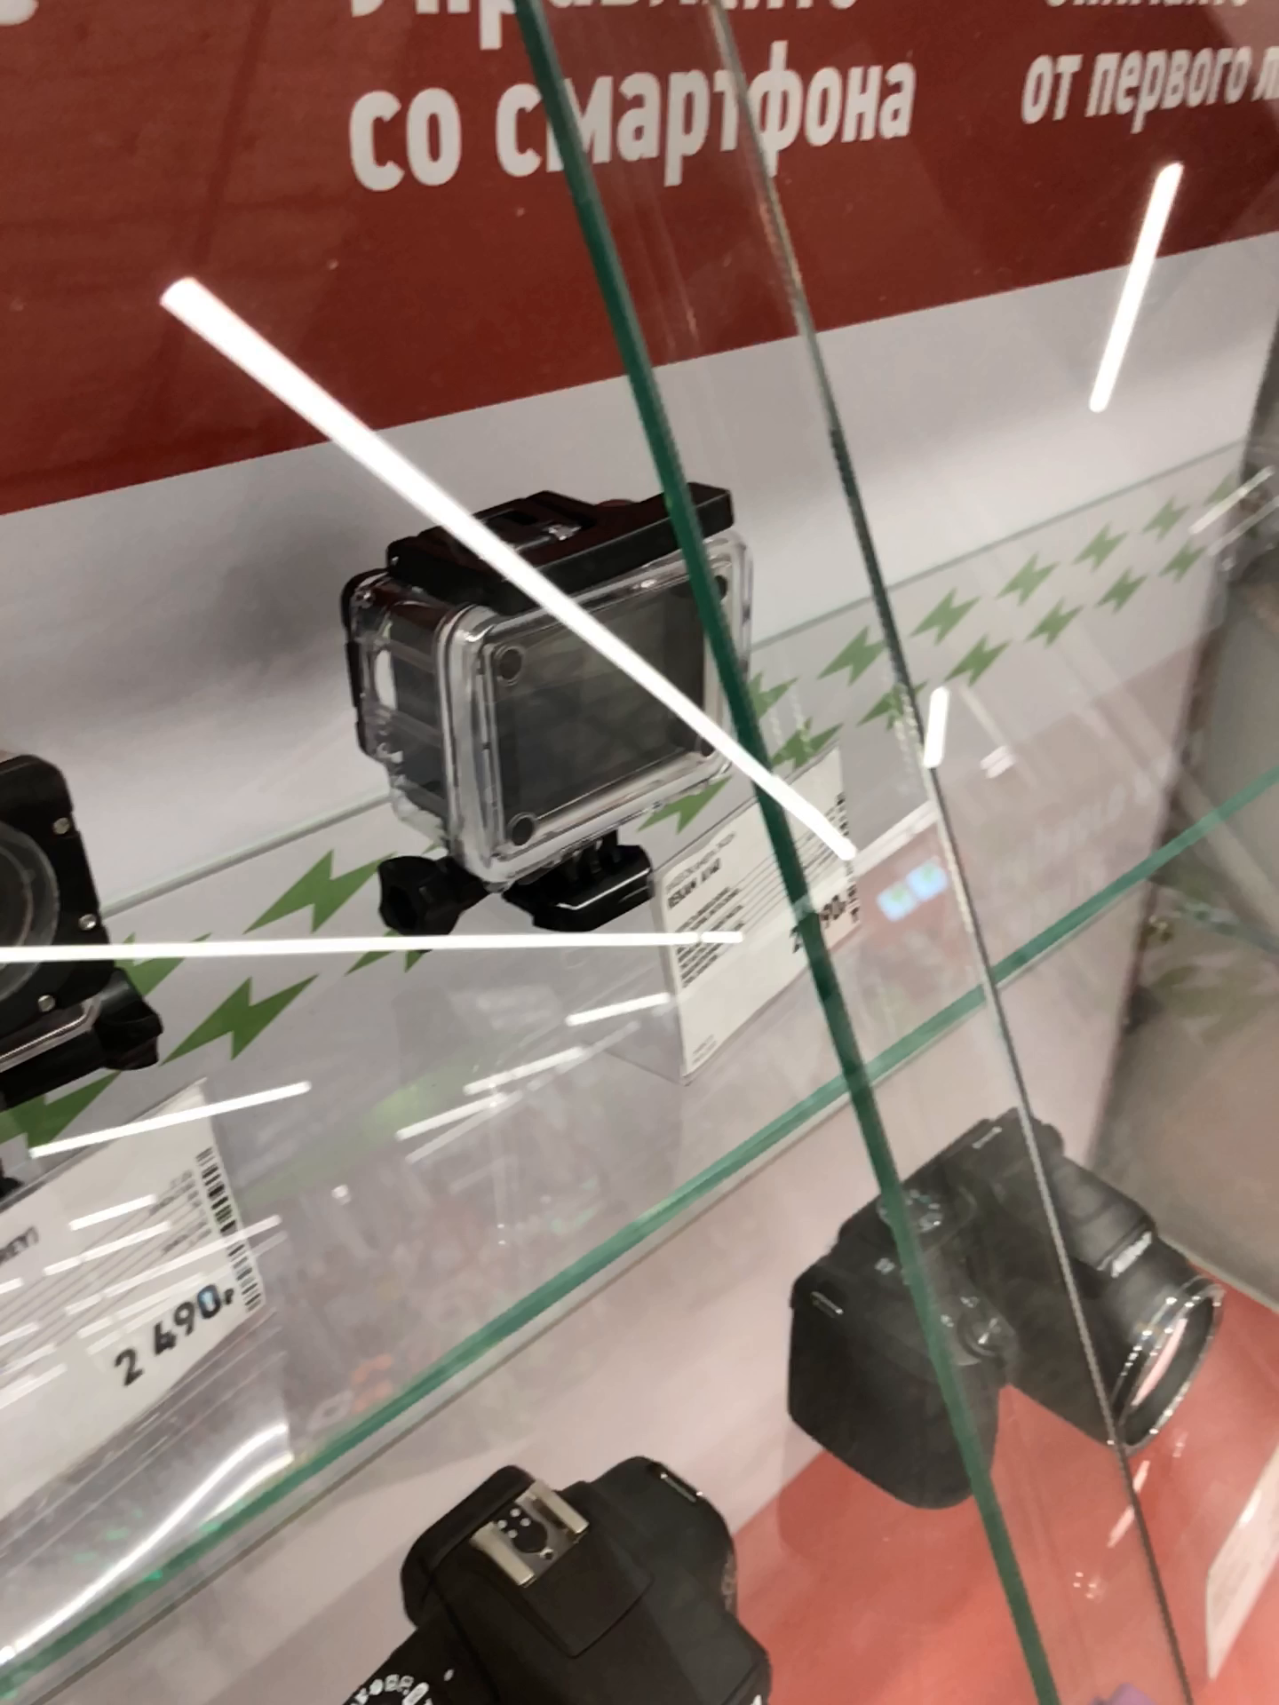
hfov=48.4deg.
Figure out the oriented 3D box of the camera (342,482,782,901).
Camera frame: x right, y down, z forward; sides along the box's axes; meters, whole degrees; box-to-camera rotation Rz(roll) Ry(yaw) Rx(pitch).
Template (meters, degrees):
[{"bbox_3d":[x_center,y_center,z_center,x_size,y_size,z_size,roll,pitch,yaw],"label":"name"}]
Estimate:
[{"bbox_3d":[-0.013,-0.035,0.279,0.040,0.053,0.075,26,39,37],"label":"camera"}]
